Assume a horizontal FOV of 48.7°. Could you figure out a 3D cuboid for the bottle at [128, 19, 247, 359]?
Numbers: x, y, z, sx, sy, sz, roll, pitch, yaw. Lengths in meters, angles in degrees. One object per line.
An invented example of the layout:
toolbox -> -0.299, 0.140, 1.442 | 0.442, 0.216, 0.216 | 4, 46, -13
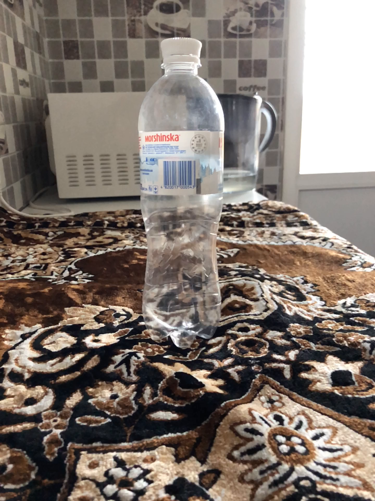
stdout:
bottle -> -0.005, -0.046, 0.354 | 0.080, 0.249, 0.090 | -2, 15, -8
